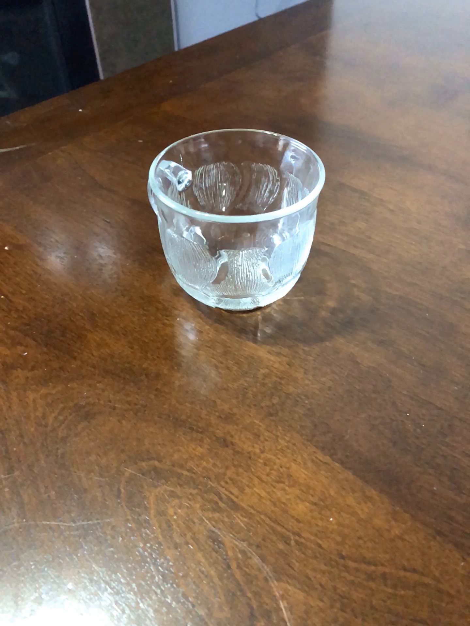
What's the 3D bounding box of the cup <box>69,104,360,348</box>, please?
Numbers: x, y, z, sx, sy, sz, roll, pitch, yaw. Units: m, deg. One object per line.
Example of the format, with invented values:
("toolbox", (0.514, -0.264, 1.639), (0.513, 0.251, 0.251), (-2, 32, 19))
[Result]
("cup", (-0.010, -0.048, 0.247), (0.100, 0.050, 0.080), (32, 53, 29))
